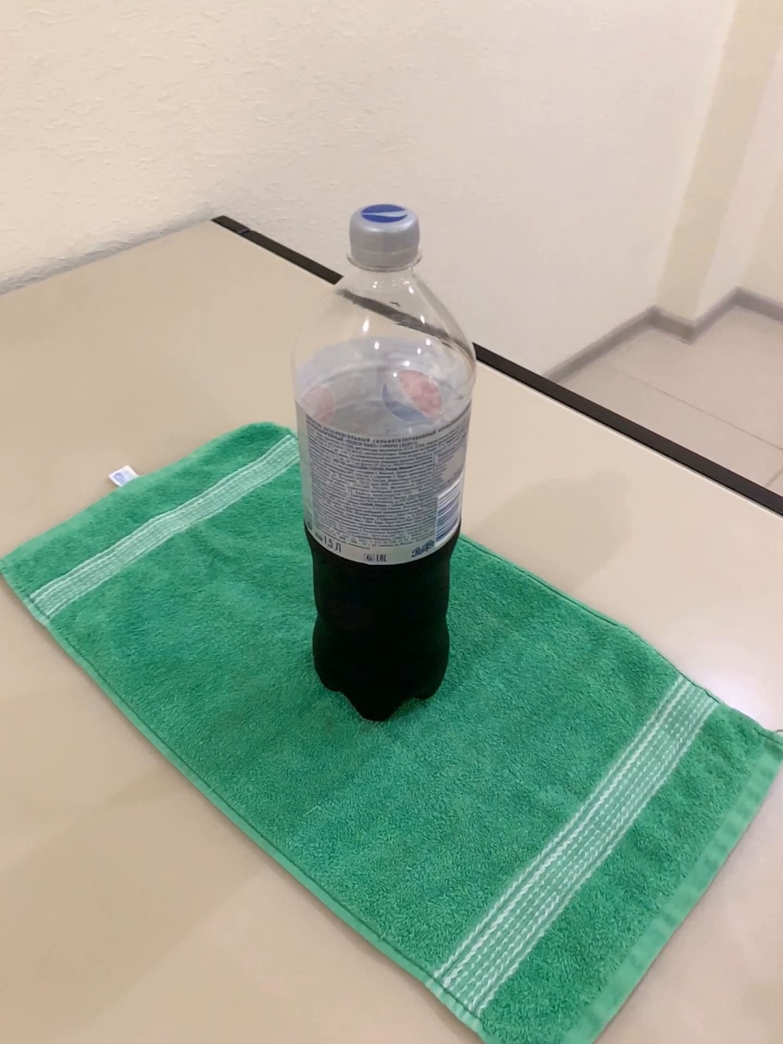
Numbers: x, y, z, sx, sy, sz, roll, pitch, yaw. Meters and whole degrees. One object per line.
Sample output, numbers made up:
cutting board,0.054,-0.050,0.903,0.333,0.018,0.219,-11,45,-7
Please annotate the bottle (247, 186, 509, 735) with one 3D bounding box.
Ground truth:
bottle,-0.004,-0.012,0.445,0.100,0.298,0.101,1,44,-1
